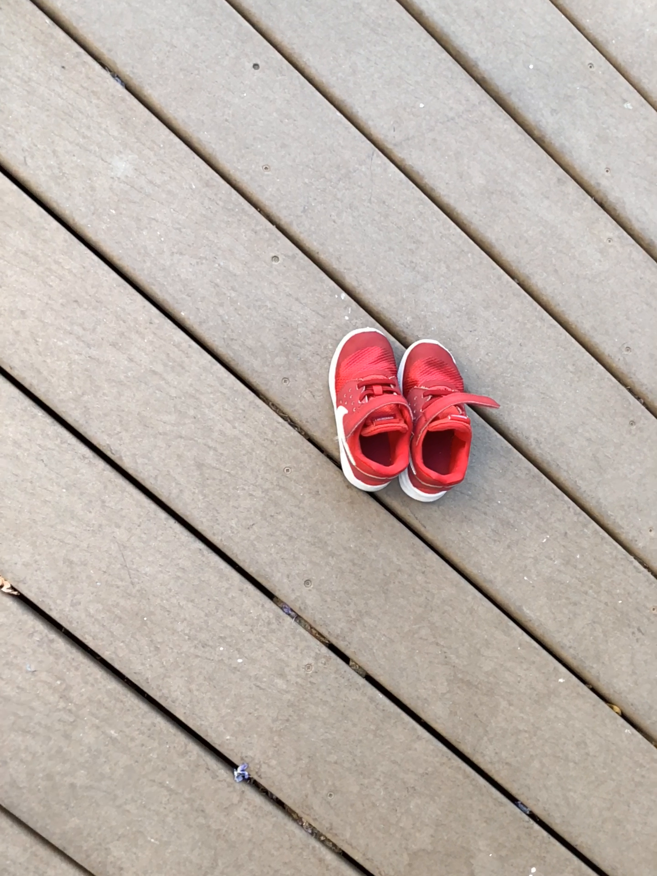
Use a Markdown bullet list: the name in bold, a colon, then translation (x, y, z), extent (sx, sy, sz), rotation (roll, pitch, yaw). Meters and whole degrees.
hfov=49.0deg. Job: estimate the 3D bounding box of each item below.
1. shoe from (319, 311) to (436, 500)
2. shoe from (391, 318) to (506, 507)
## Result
- **shoe**: translation (0.044, -0.027, 0.686), extent (0.077, 0.087, 0.167), rotation (-2, 86, -15)
- **shoe**: translation (0.114, -0.020, 0.695), extent (0.077, 0.087, 0.167), rotation (4, 84, -14)
